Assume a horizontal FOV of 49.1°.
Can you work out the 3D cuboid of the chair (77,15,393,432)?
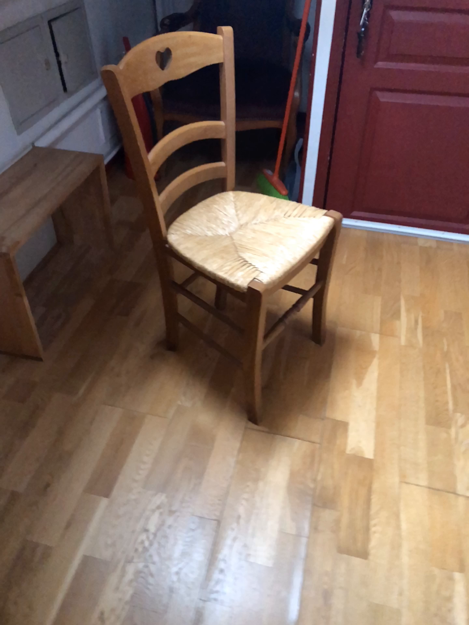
[{"bbox_3d":[0.017,-0.210,1.253,0.433,0.792,0.461,23,46,25],"label":"chair"}]
